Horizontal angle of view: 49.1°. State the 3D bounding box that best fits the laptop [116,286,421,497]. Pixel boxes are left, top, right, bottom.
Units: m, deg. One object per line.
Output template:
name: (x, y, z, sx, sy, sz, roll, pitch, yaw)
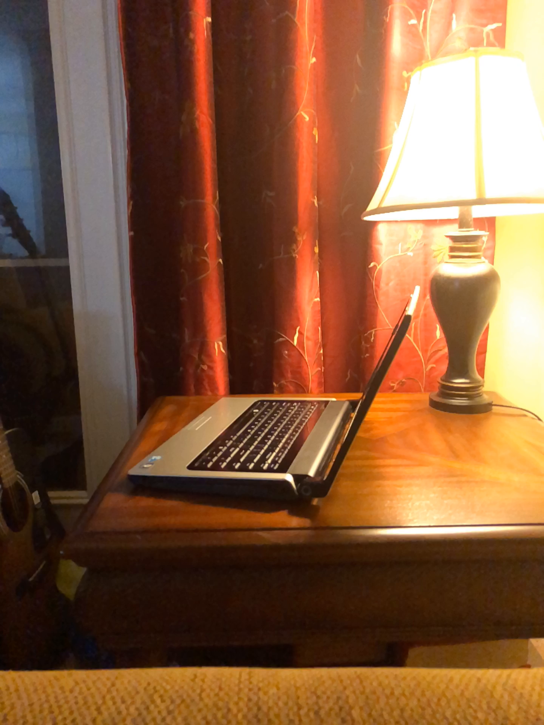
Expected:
laptop: (0.030, 0.008, 0.867, 0.350, 0.204, 0.363, 2, 12, 14)
